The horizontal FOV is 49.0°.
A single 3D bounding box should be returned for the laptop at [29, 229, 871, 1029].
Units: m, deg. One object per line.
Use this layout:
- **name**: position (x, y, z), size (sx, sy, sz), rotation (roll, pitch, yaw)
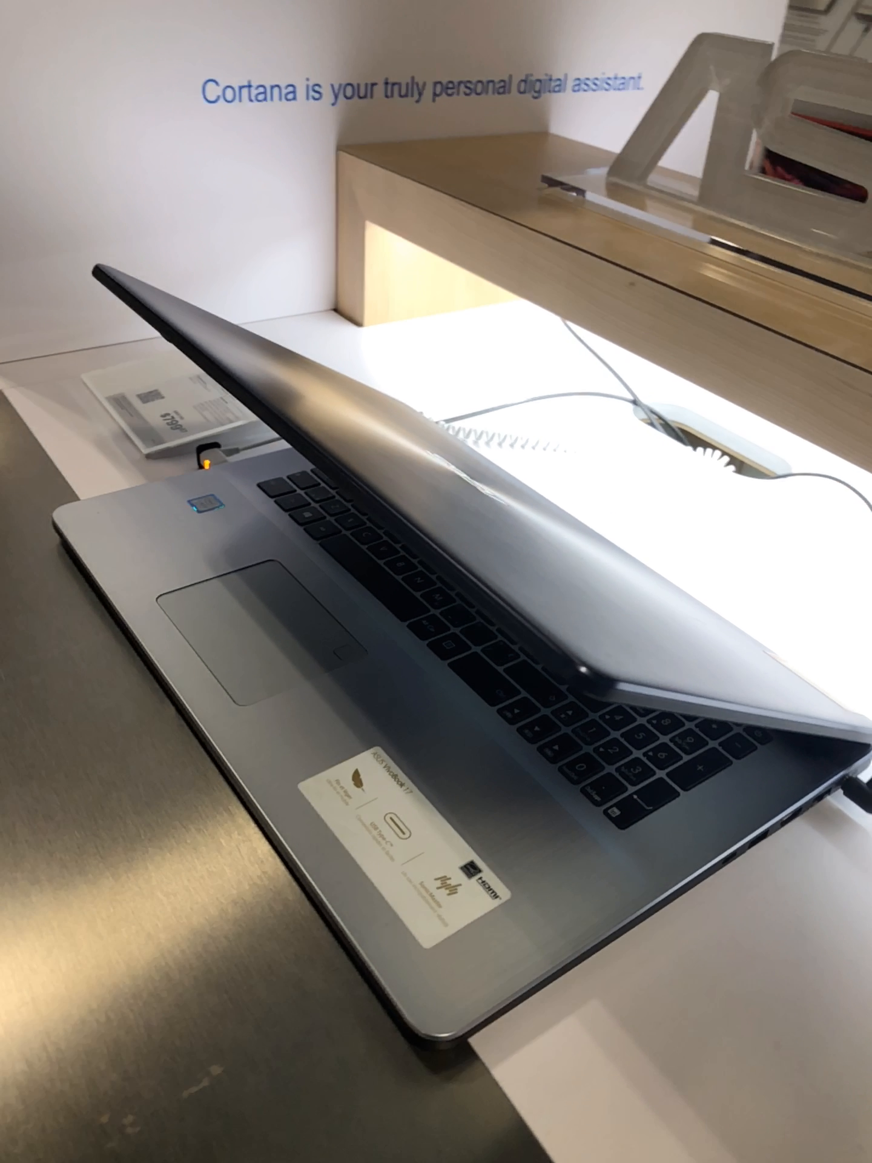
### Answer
- **laptop**: position (-0.003, -0.039, 0.485), size (0.259, 0.144, 0.392), rotation (-20, 41, -30)
